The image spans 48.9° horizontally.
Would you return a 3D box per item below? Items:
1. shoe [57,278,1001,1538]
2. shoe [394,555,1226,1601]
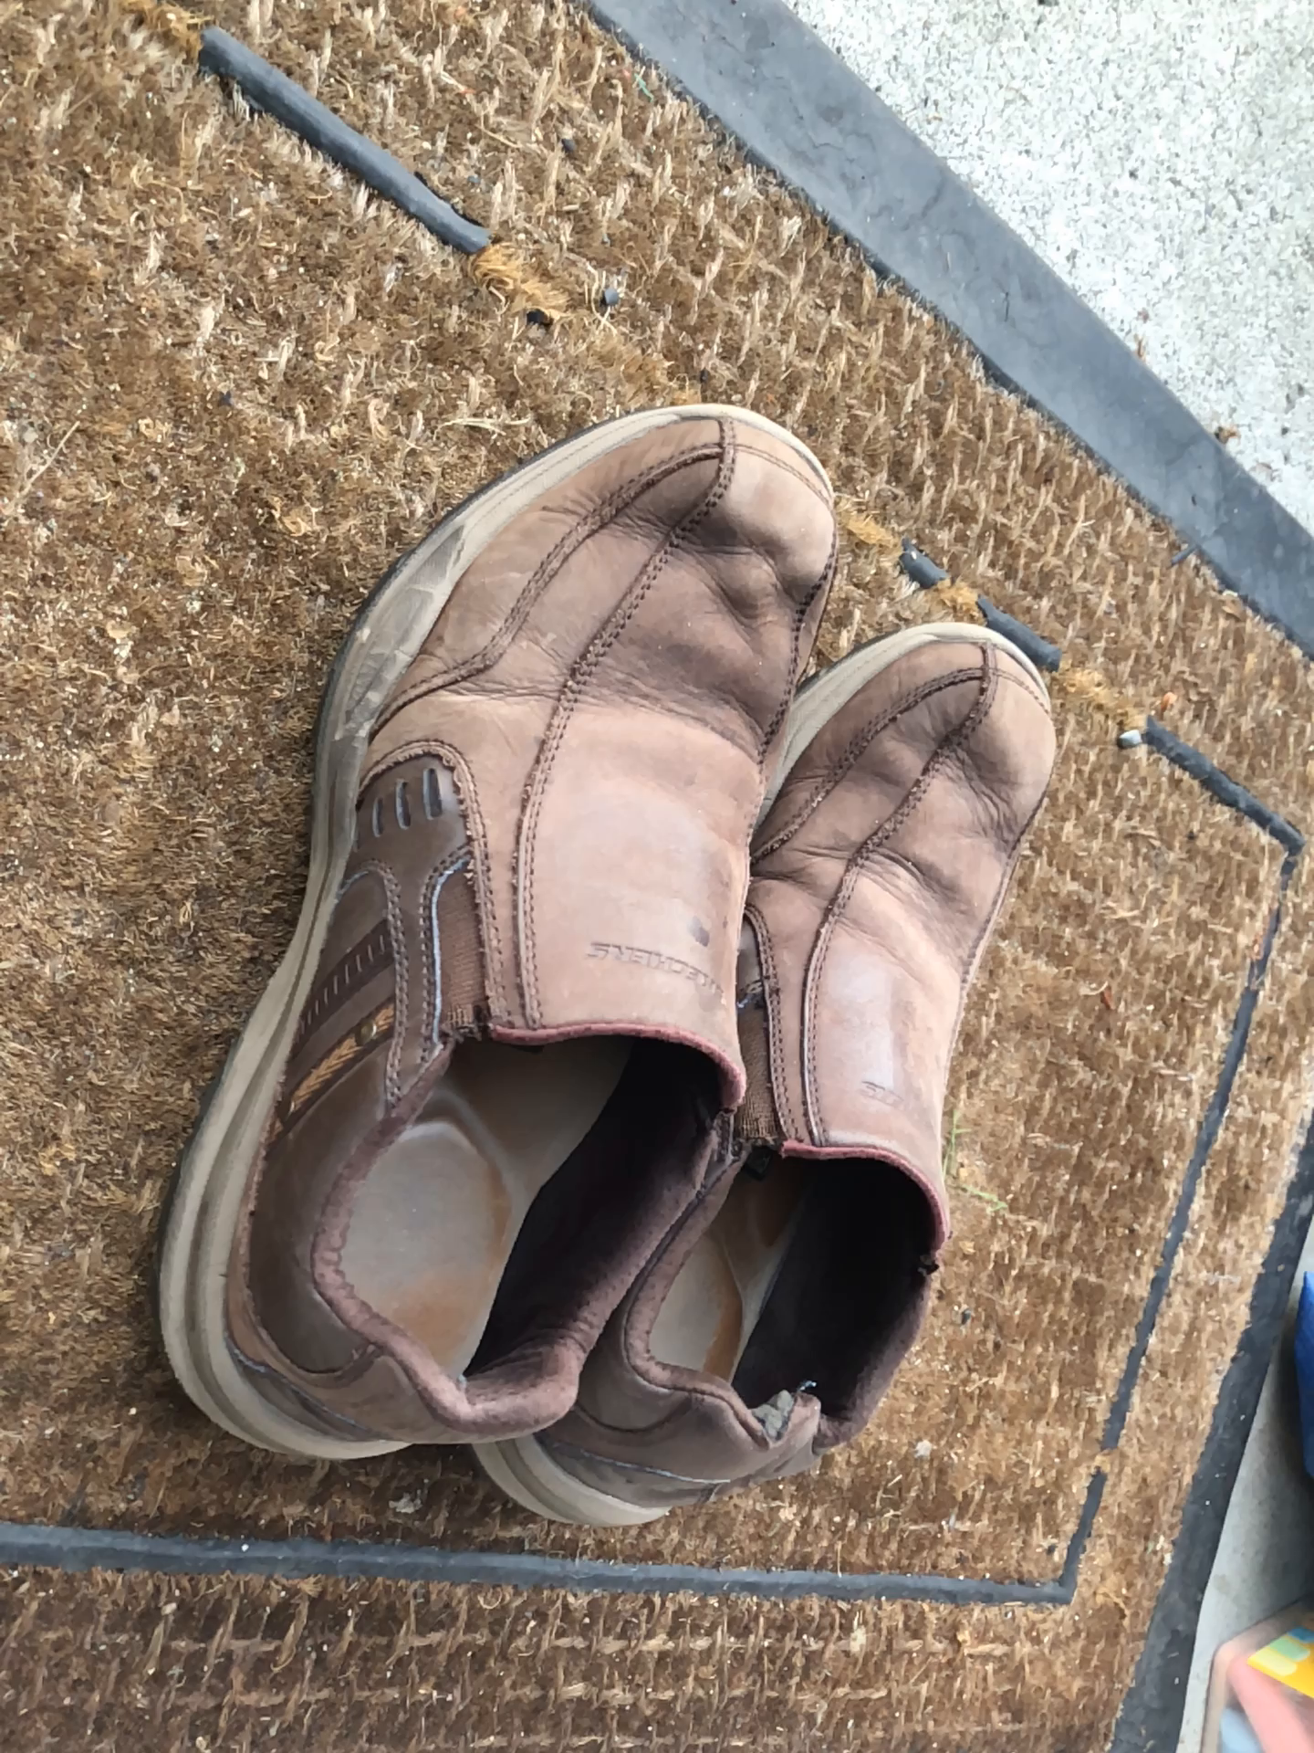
[{"bbox_3d":[-0.029,0.005,0.362,0.100,0.100,0.267,29,81,-37],"label":"shoe"},{"bbox_3d":[0.046,0.047,0.409,0.100,0.100,0.254,33,78,-36],"label":"shoe"}]
